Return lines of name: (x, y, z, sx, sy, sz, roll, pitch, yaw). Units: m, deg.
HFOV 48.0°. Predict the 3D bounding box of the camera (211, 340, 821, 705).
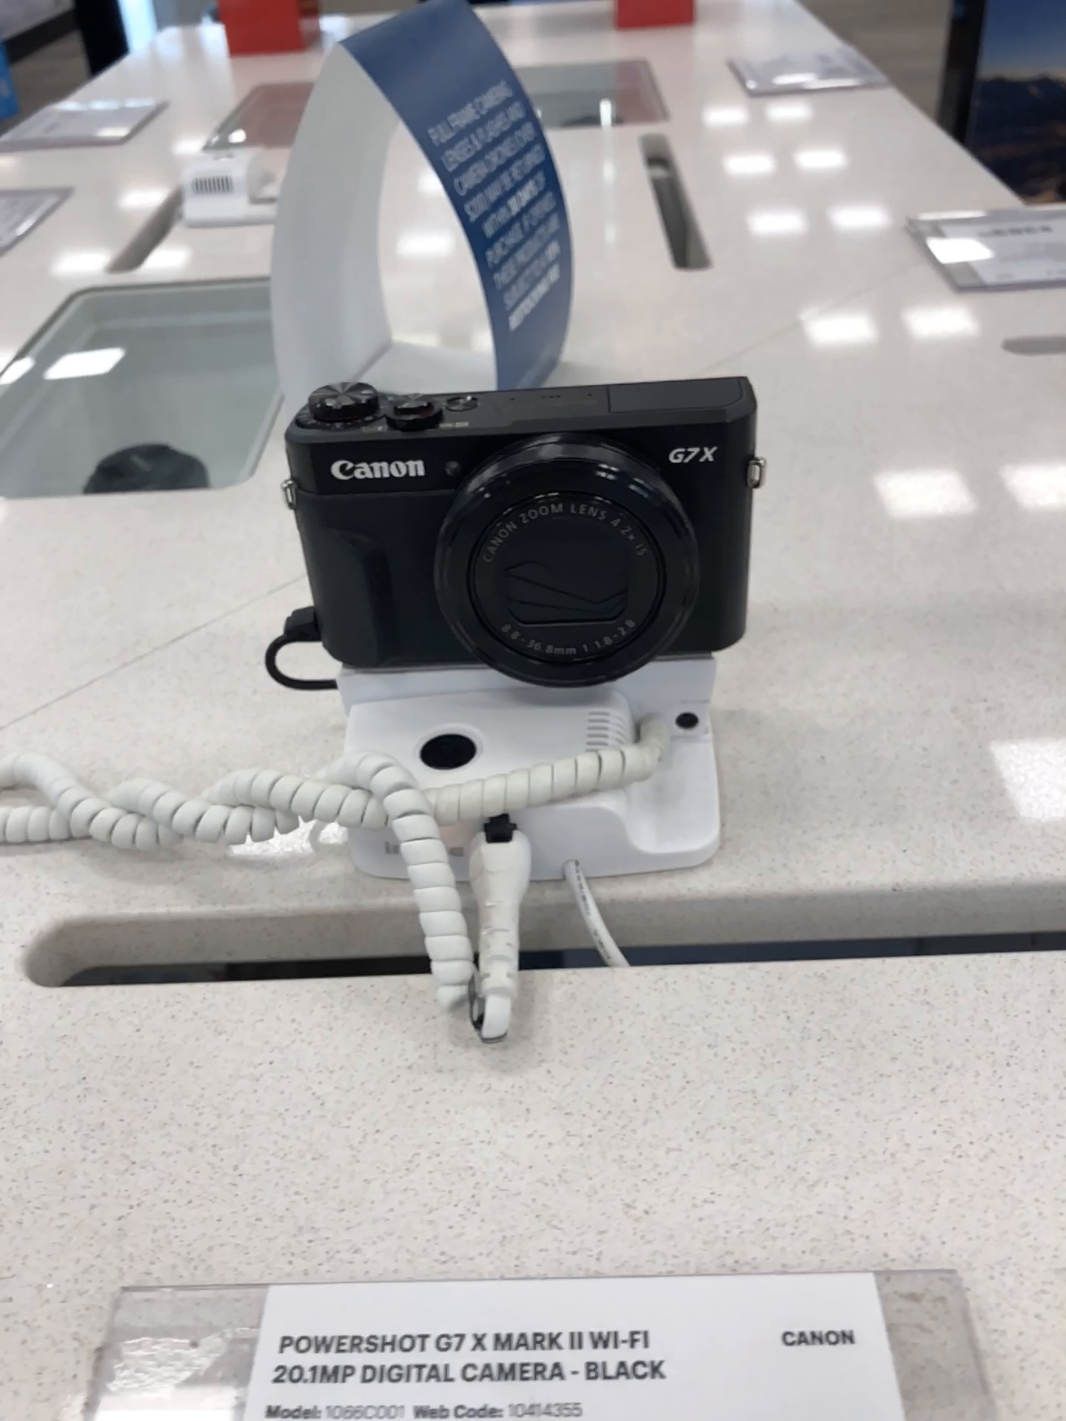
camera: (-0.002, -0.043, 0.273, 0.120, 0.060, 0.050, -2, 38, 3)
